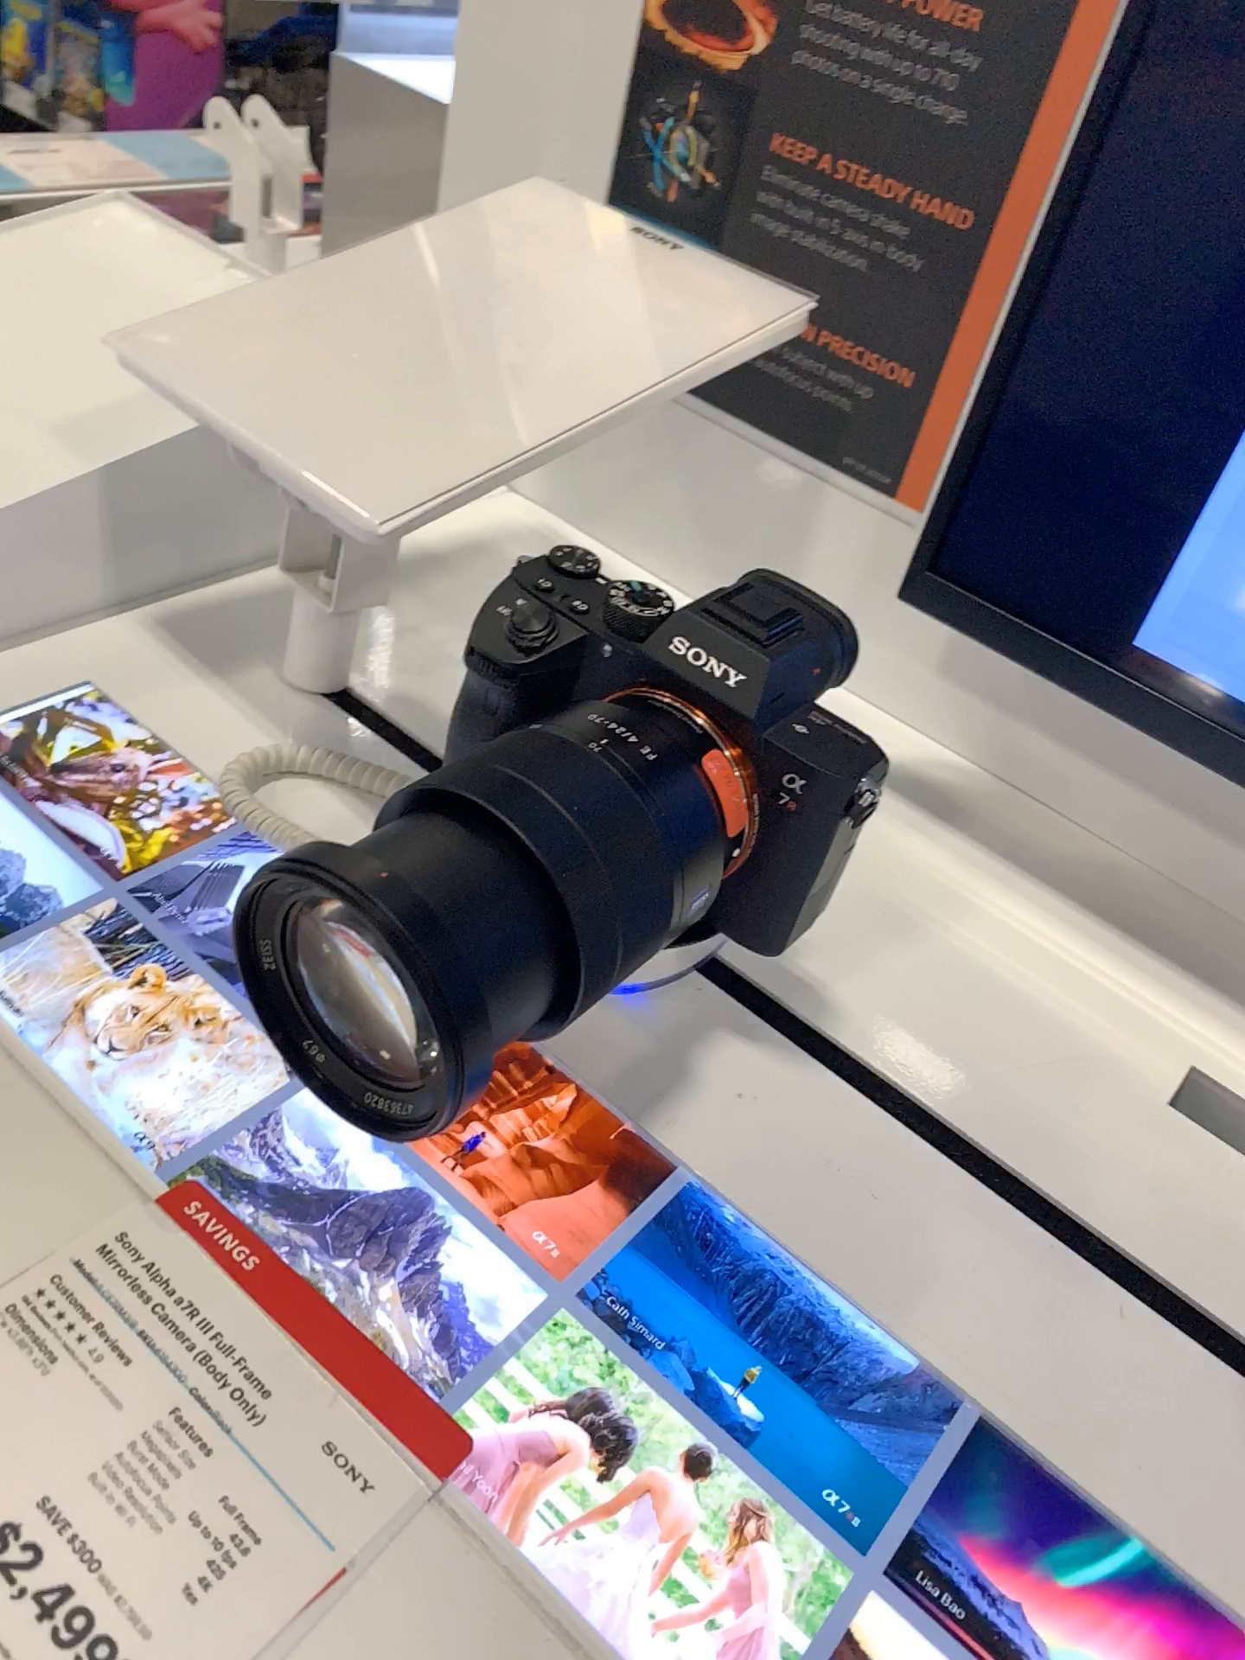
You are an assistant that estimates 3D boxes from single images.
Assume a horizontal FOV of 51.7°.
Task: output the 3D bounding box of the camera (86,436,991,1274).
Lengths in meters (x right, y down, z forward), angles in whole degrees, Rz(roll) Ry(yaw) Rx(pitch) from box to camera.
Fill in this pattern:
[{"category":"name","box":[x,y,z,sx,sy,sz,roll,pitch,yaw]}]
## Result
[{"category":"camera","box":[-0.015,-0.013,0.344,0.130,0.099,0.194,32,42,21]}]
